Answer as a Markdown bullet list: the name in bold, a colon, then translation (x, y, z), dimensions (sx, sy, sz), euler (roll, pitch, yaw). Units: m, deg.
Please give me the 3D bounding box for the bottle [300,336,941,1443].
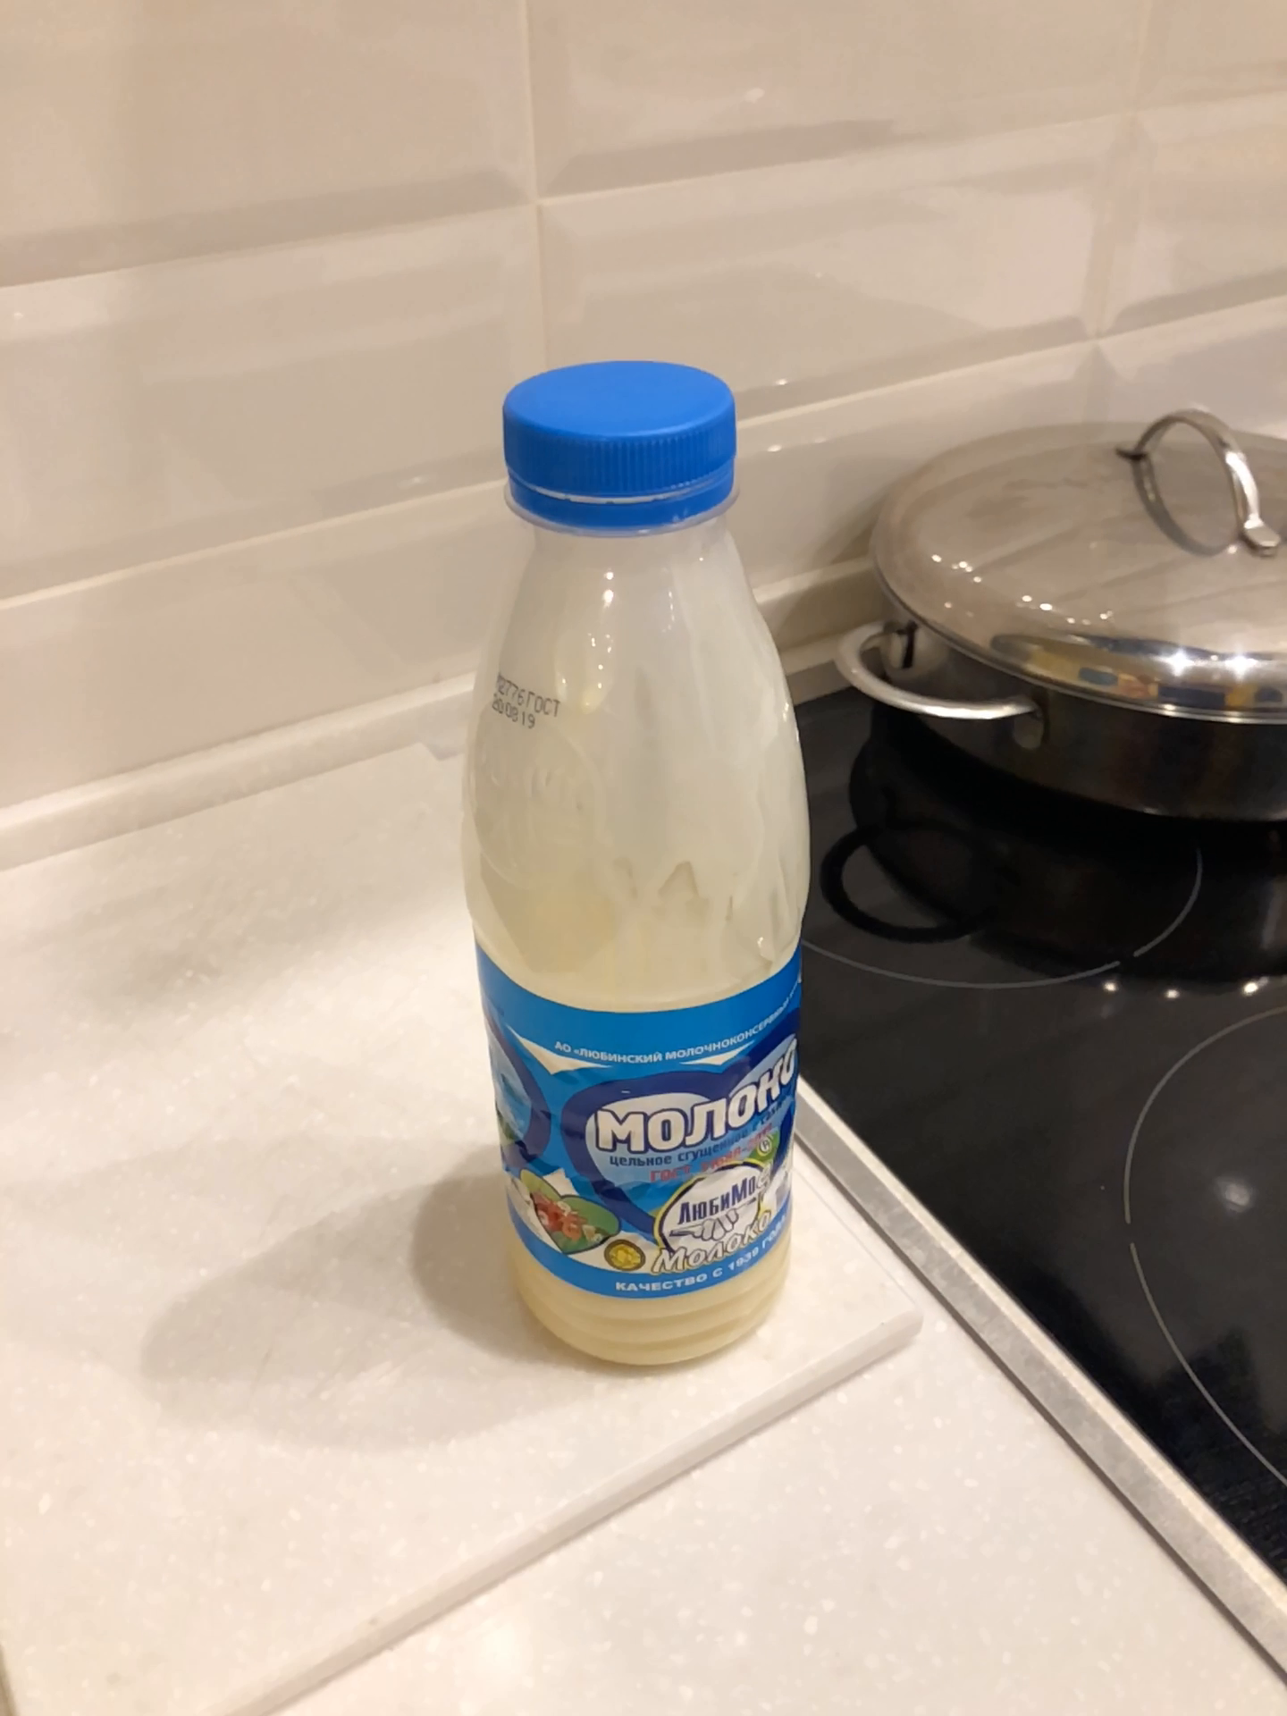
- **bottle**: translation (-0.005, 0.014, 0.304), dimensions (0.080, 0.213, 0.080), euler (-1, 36, 1)
